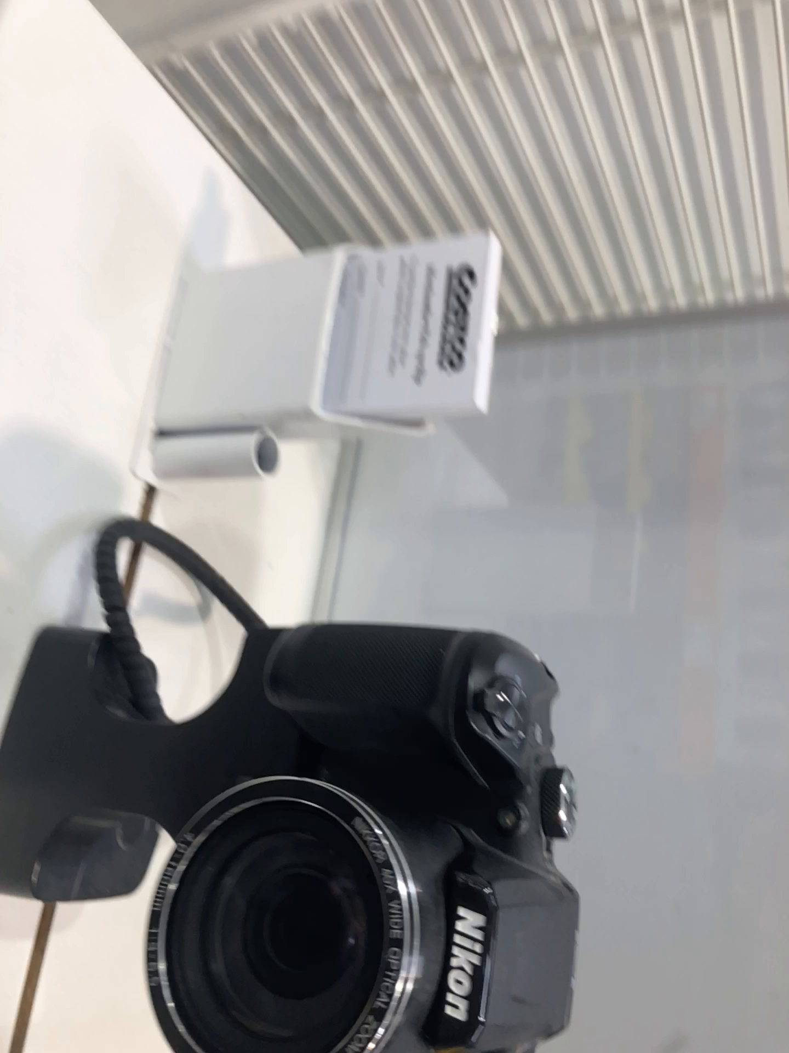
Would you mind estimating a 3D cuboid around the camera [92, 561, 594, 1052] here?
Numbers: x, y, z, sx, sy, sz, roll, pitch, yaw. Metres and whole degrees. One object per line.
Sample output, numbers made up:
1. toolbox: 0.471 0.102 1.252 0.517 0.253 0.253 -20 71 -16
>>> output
1. camera: -0.001 0.079 0.233 0.101 0.079 0.116 37 56 -59
